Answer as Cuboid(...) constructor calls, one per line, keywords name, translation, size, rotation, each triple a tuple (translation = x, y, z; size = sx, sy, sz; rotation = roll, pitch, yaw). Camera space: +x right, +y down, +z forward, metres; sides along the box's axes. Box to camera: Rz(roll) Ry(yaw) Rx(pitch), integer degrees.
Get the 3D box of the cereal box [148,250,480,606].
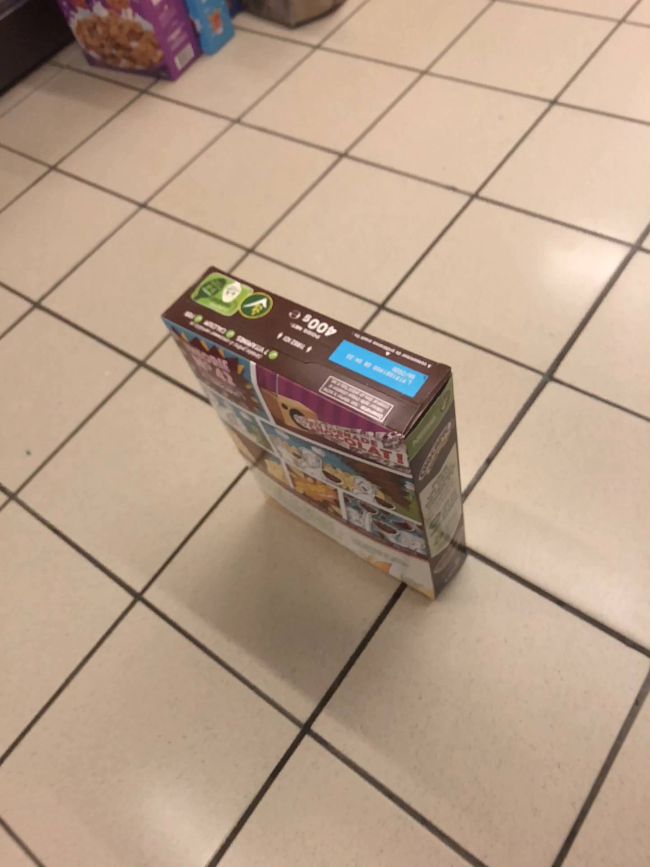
Cuboid(name="cereal box", translation=(0.010, 0.011, 0.550), size=(0.200, 0.279, 0.060), rotation=(26, 68, 26))
